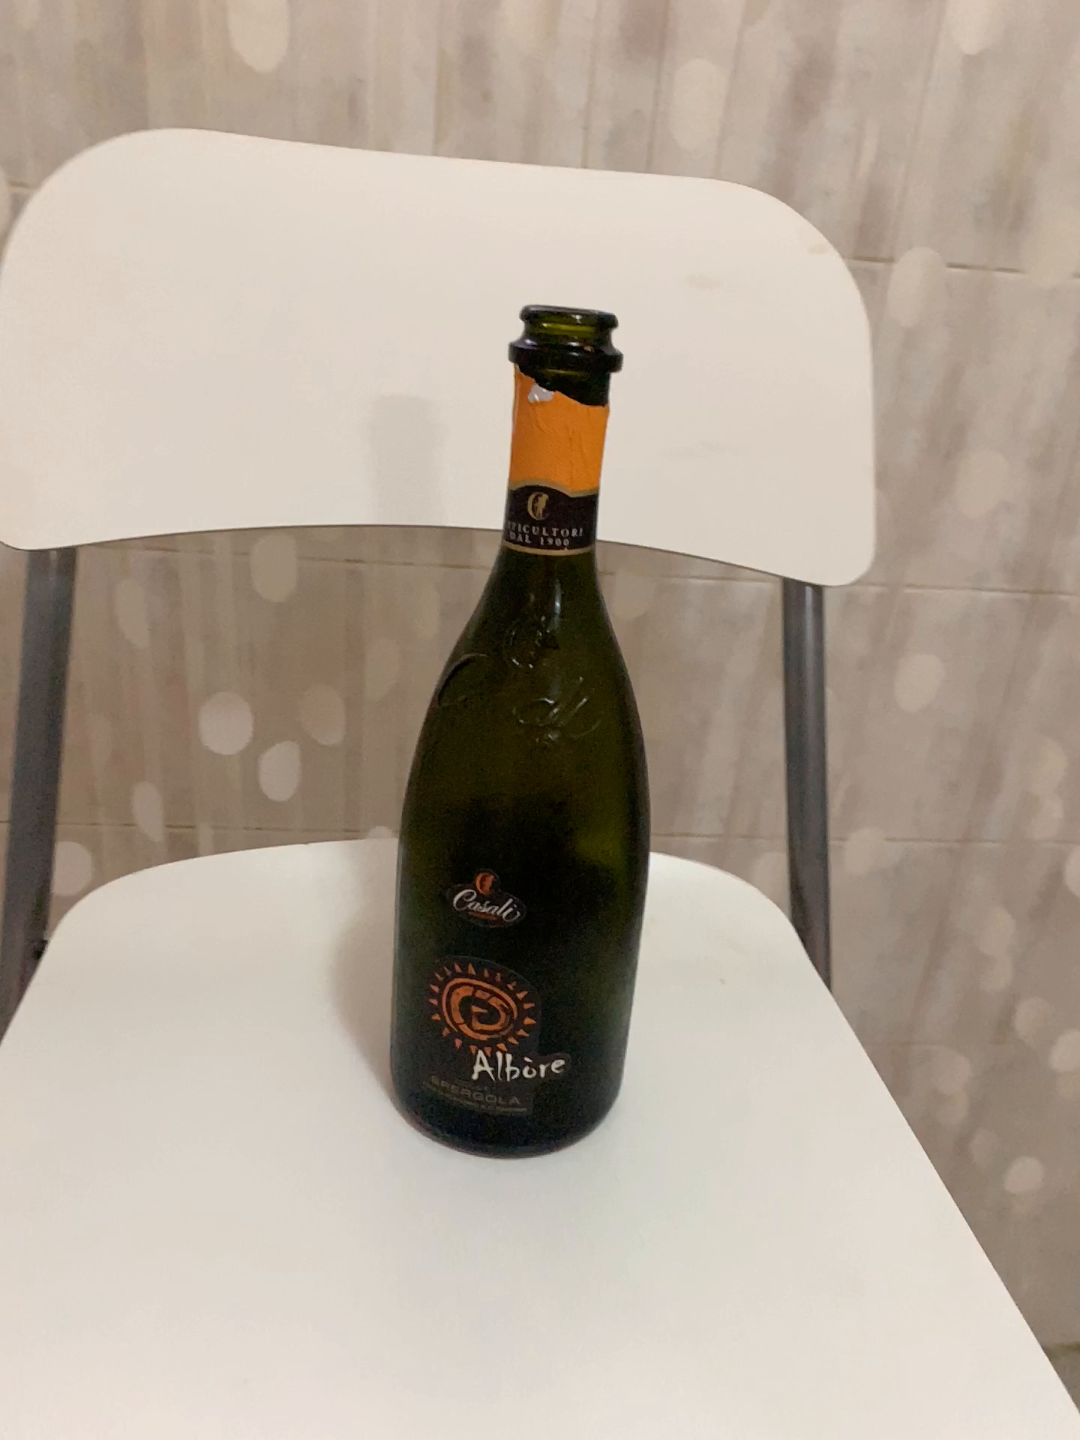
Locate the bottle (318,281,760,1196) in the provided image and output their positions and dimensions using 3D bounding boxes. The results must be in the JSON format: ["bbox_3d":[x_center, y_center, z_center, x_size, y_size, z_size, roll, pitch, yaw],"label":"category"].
[{"bbox_3d":[-0.005,0.009,0.360,0.101,0.269,0.093,4,26,-2],"label":"bottle"}]
